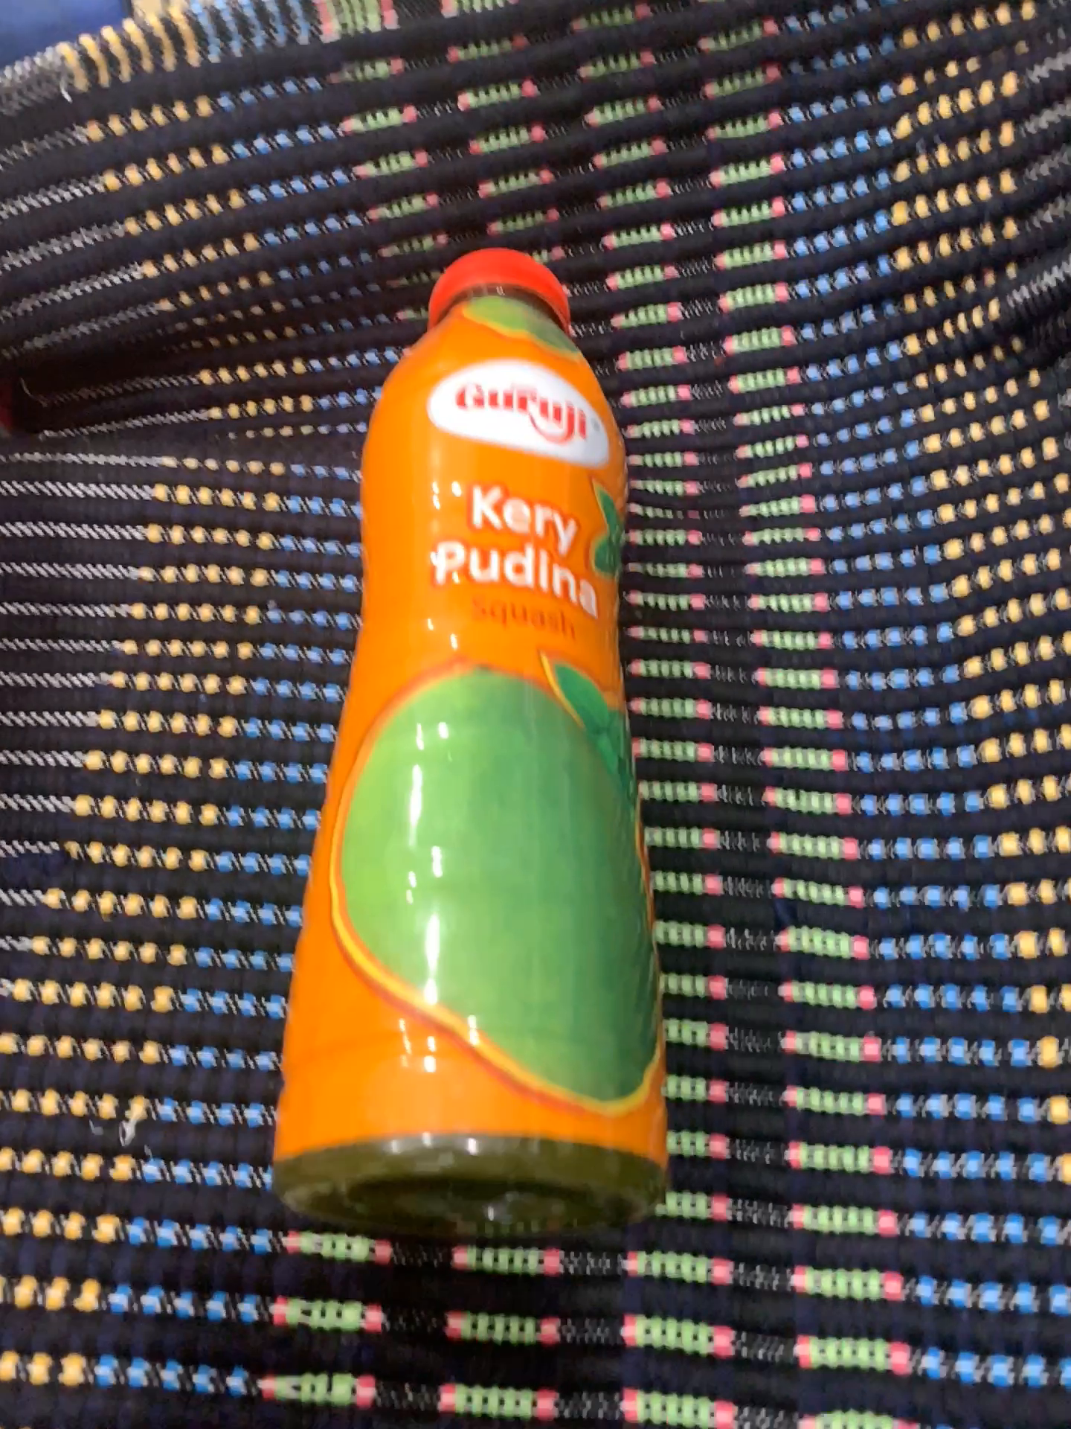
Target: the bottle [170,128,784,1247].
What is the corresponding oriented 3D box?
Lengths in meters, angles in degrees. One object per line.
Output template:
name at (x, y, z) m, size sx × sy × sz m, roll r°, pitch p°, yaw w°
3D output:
bottle at (-0.008, -0.018, 0.242) m, size 0.070 × 0.070 × 0.231 m, roll 28°, pitch 48°, yaw -34°
